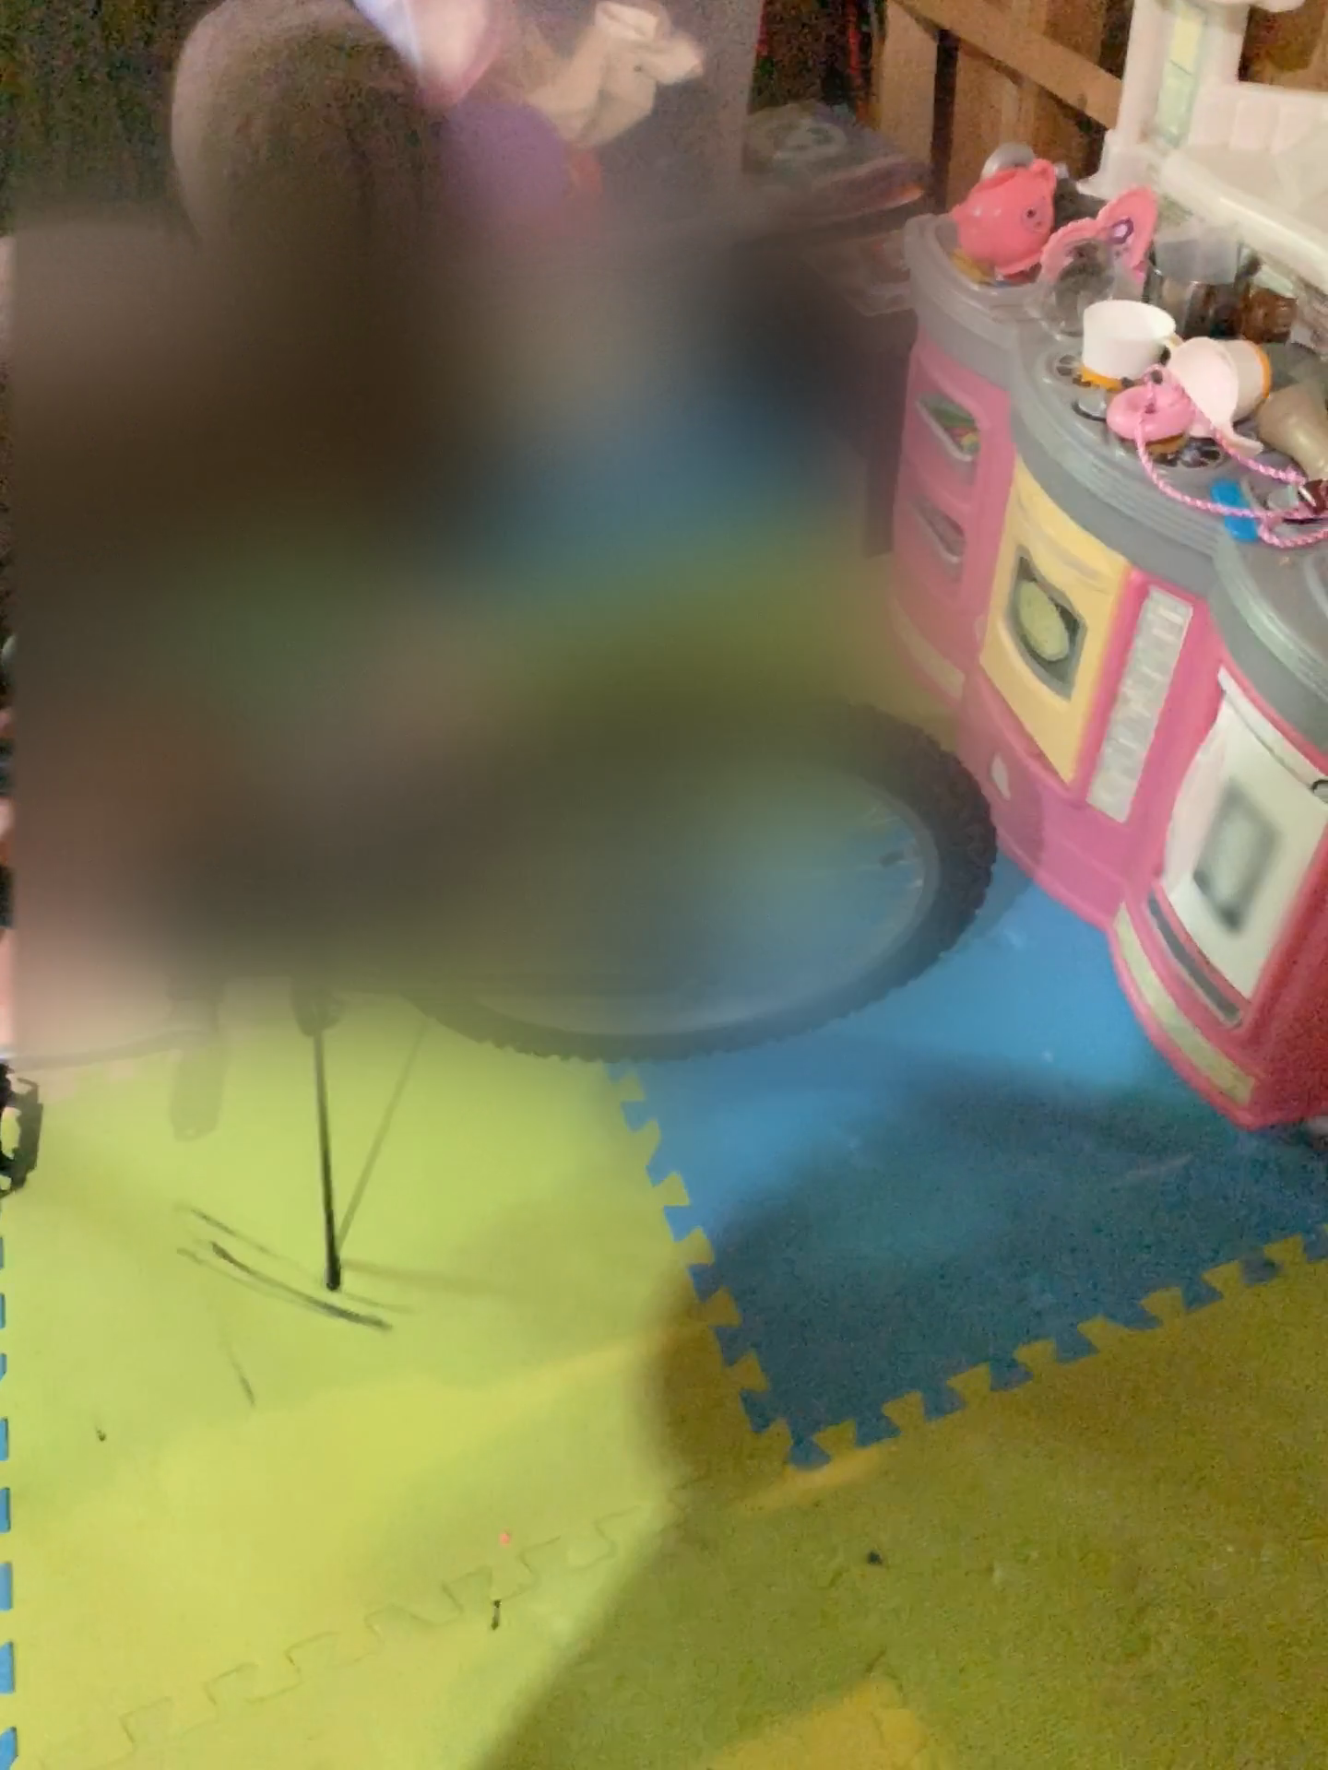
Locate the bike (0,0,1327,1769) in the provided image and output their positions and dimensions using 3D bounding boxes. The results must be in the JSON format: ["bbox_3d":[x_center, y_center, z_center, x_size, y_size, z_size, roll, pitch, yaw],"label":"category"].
[{"bbox_3d":[-0.388,0.000,0.901,1.268,0.841,0.536,-16,48,-5],"label":"bike"}]
